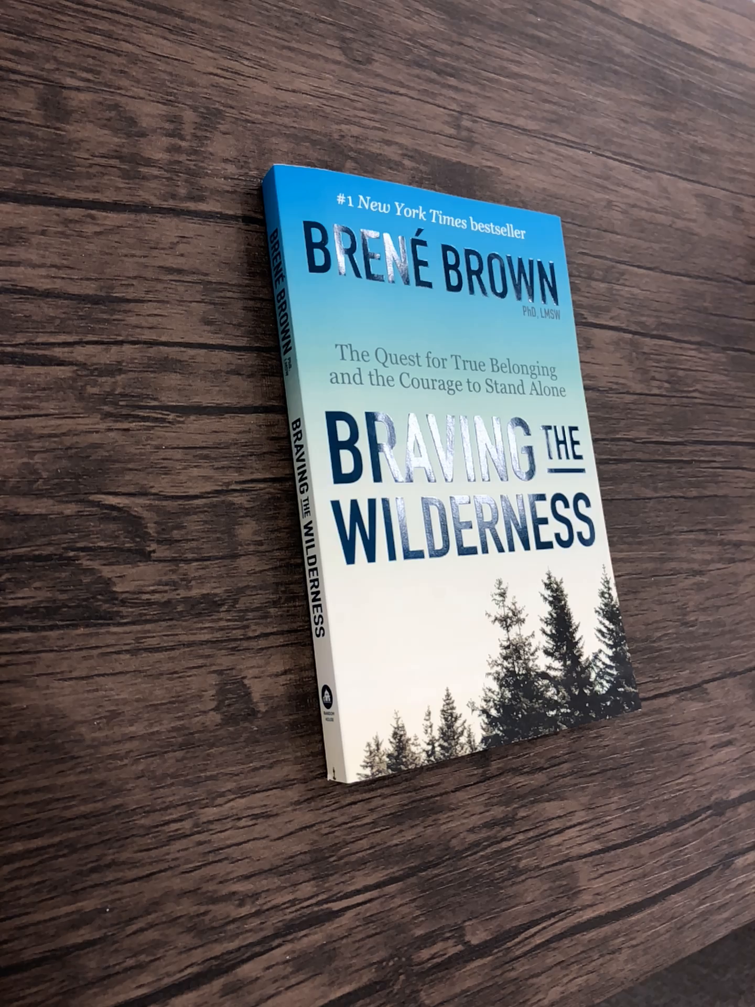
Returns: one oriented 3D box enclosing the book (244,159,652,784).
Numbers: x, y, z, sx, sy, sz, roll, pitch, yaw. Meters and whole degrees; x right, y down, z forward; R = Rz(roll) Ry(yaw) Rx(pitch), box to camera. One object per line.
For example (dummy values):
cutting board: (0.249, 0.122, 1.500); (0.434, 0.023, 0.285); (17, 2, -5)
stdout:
book: (0.028, -0.015, 0.295); (0.130, 0.021, 0.191); (-3, 82, -31)
